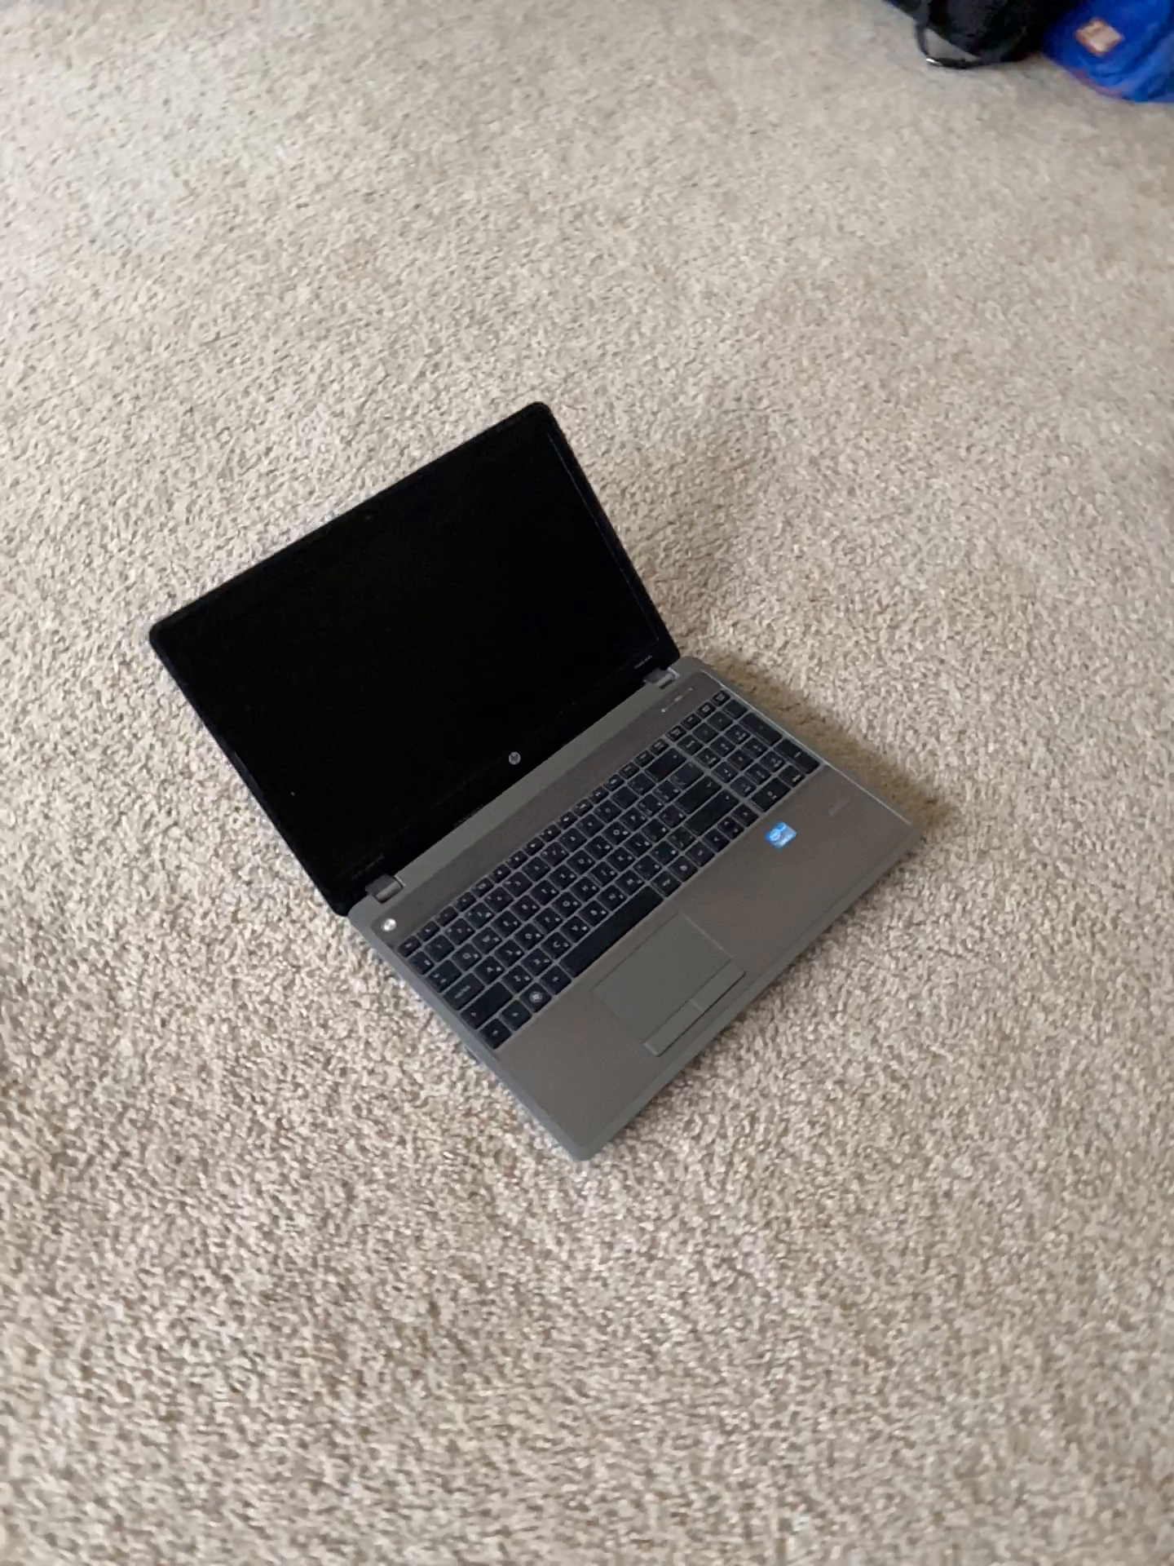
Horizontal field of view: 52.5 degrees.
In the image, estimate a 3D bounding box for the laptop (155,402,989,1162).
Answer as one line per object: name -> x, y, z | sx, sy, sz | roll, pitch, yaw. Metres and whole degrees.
laptop -> -0.017, -0.033, 0.879 | 0.375, 0.162, 0.436 | -37, 63, -24
